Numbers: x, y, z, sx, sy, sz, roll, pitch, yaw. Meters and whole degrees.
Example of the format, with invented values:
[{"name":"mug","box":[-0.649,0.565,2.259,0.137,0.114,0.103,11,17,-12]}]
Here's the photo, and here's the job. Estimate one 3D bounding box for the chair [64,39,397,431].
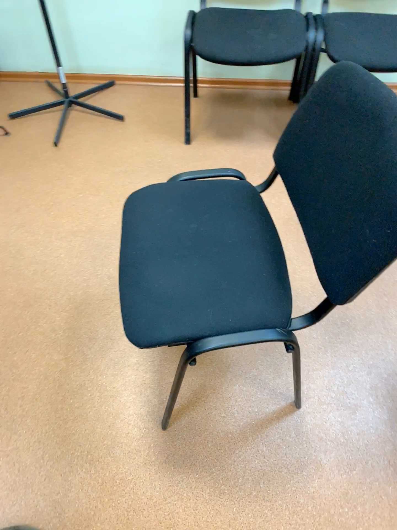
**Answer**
[{"name":"chair","box":[0.095,-0.016,1.036,0.590,0.784,0.578,-6,53,-2]}]
